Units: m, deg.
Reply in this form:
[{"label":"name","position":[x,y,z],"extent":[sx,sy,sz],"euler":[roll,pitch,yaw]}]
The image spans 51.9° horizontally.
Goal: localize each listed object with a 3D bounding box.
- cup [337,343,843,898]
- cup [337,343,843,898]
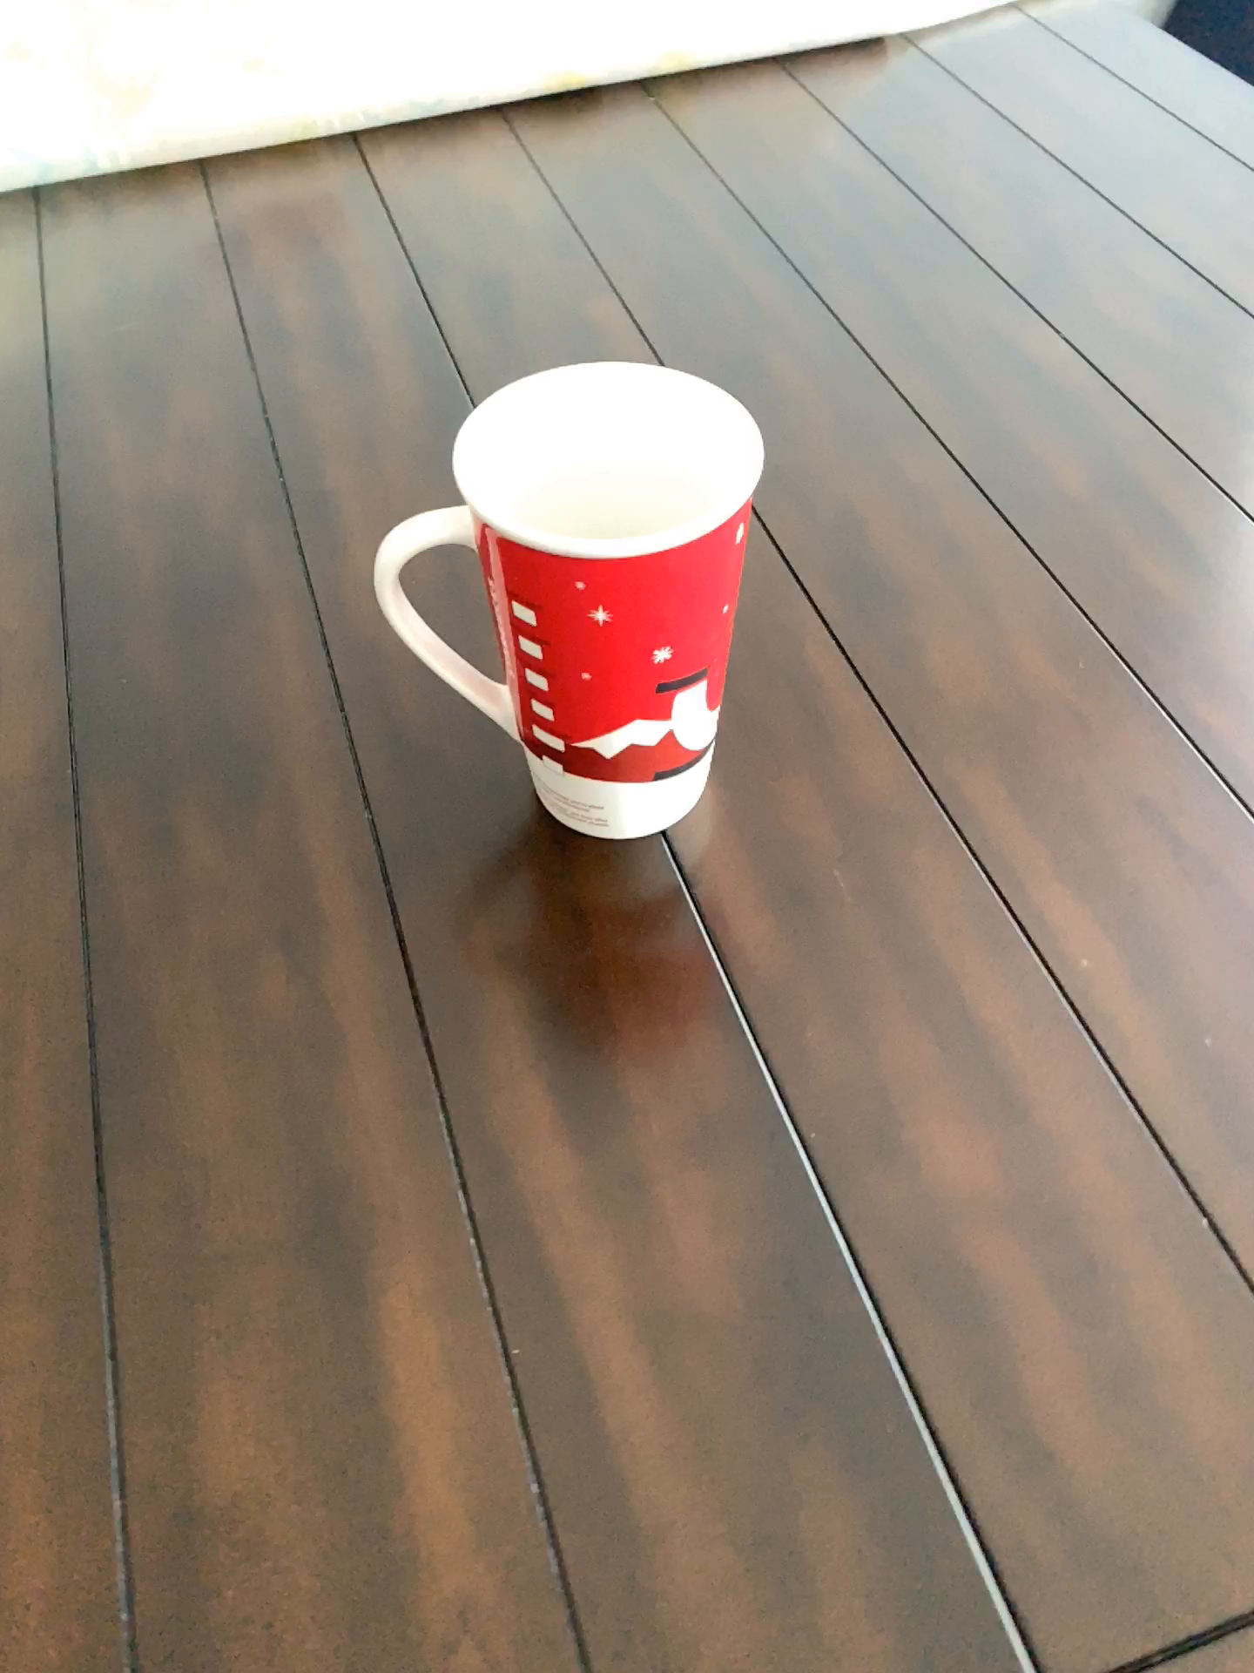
[{"label":"cup","position":[-0.015,-0.077,0.457],"extent":[0.130,0.120,0.121],"euler":[-1,50,1]},{"label":"cup","position":[-0.015,-0.077,0.457],"extent":[0.130,0.120,0.121],"euler":[-1,50,1]}]
